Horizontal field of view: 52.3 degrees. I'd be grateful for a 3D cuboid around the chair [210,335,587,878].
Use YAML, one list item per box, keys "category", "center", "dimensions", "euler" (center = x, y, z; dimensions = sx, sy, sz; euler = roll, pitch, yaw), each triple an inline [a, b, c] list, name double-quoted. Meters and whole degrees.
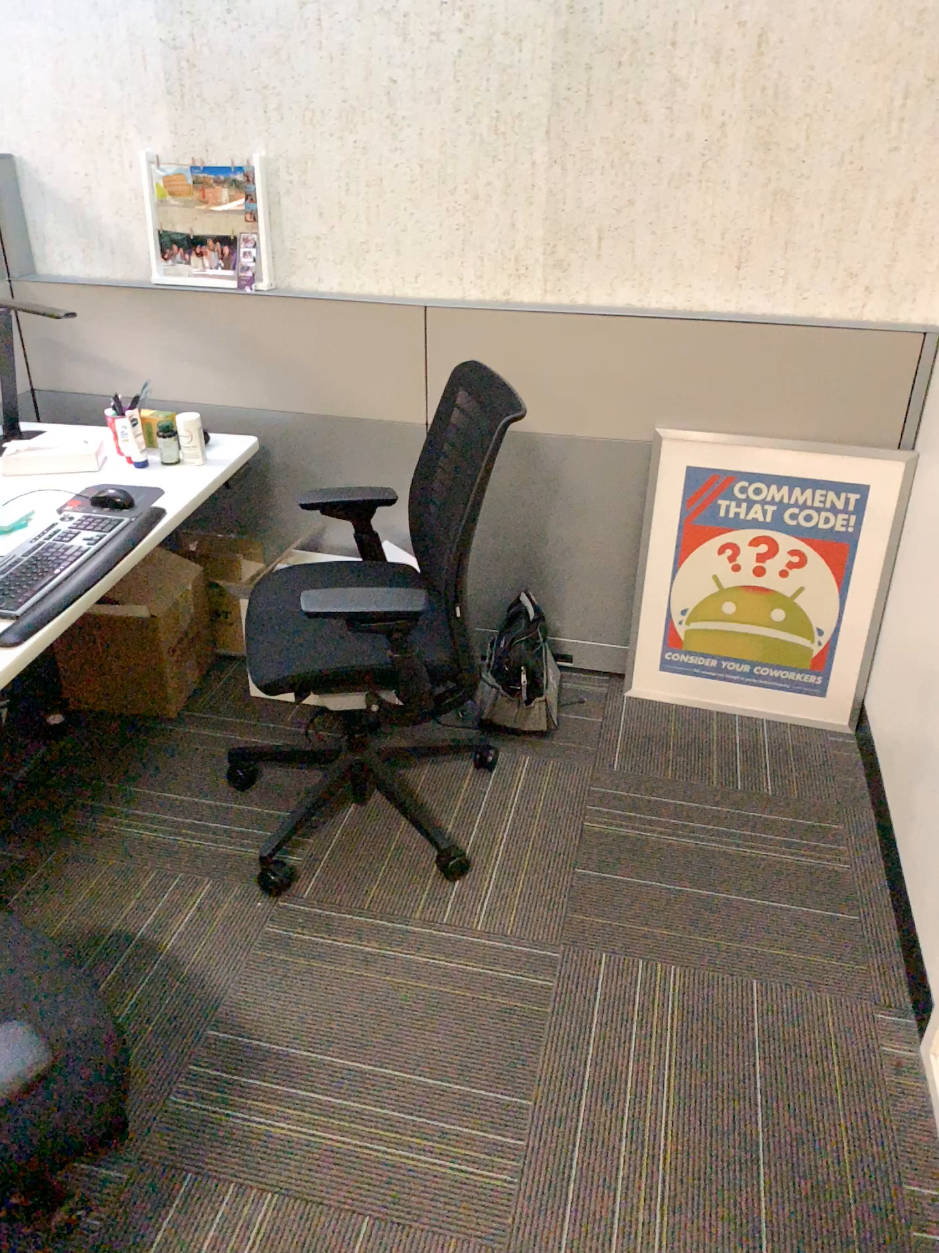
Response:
- category: "chair"
  center: [-0.190, -0.082, 2.158]
  dimensions: [0.650, 0.954, 0.674]
  euler: [-7, 29, -13]
